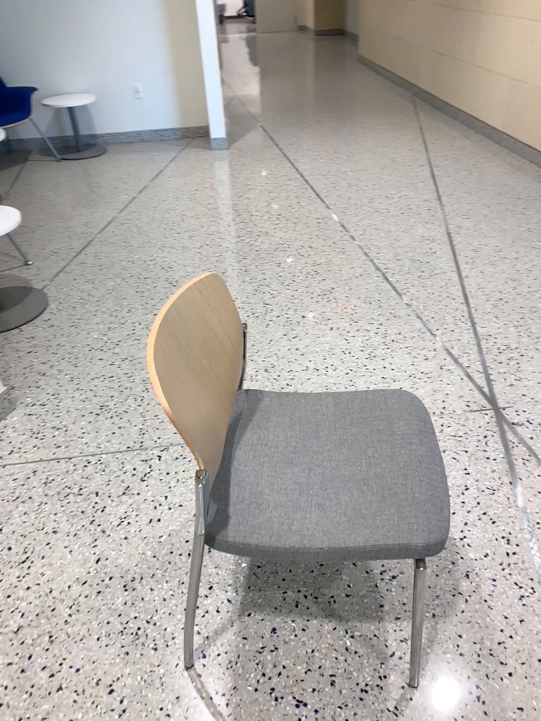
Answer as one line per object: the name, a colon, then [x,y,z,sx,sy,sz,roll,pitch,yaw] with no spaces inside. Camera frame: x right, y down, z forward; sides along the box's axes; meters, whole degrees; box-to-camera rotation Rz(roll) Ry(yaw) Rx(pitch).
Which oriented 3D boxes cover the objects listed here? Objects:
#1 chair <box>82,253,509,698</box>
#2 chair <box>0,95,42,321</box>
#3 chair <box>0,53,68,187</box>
chair: [0.070,0.238,1.201,0.591,0.768,0.542,1,36,7]
chair: [-1.783,-0.809,2.755,0.765,0.758,0.771,-31,44,-33]
chair: [-2.258,-1.921,4.341,0.813,0.768,0.752,19,41,29]
